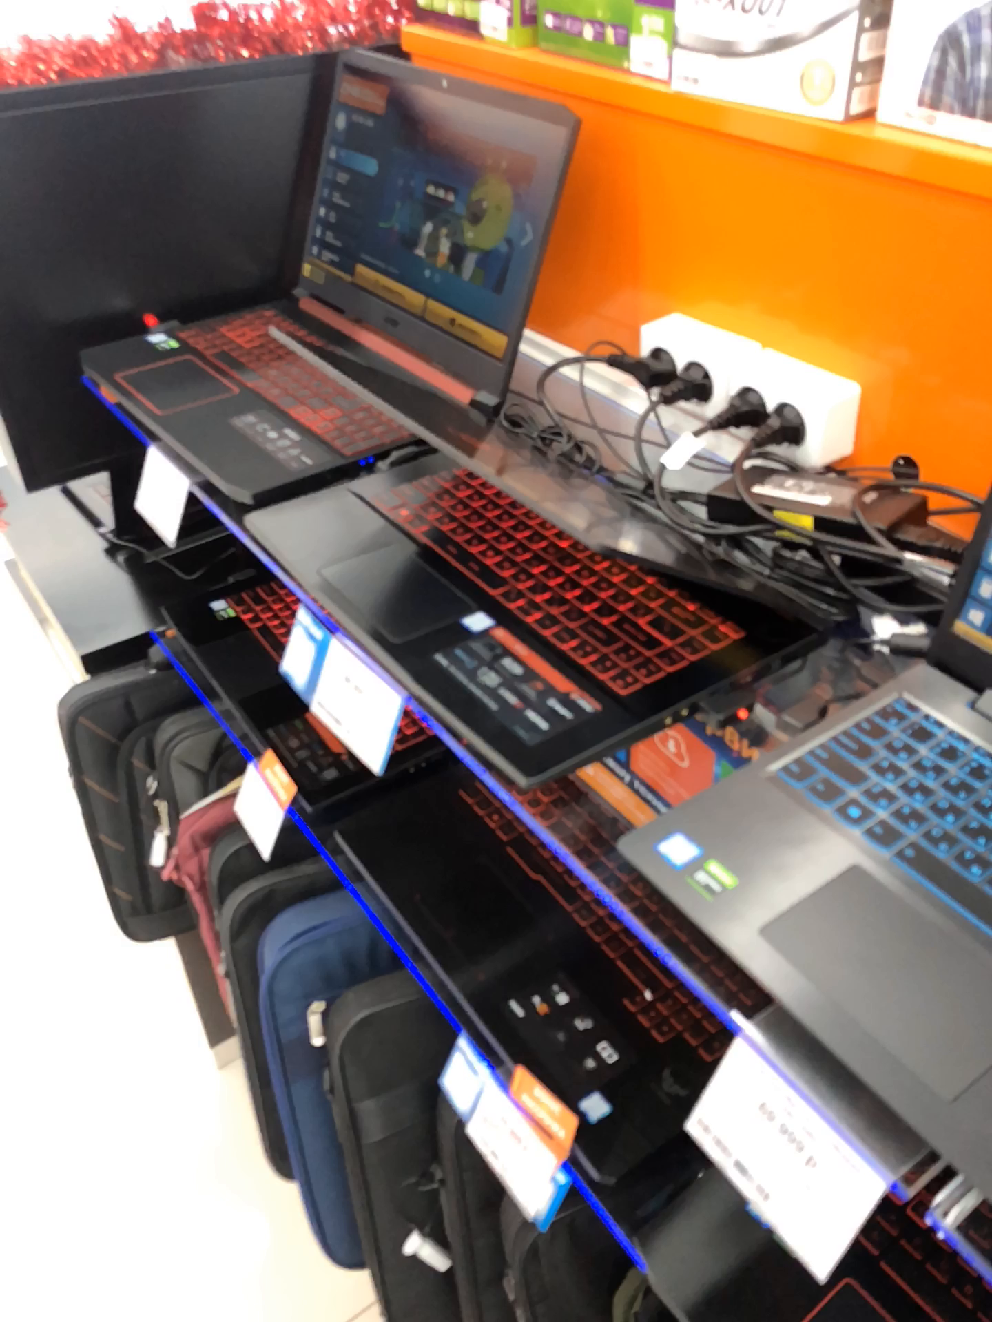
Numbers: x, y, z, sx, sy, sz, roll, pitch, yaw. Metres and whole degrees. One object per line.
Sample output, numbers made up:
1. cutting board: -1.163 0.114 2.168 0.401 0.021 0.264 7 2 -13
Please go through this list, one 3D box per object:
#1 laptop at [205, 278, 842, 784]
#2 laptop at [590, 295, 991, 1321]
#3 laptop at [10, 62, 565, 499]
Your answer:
1. laptop: 0.001 -0.114 0.702 0.226 0.134 0.348 -25 44 -28
2. laptop: 0.262 0.030 0.412 0.278 0.228 0.327 -21 39 -24
3. laptop: -0.181 -0.367 0.961 0.330 0.225 0.366 -25 44 -28
